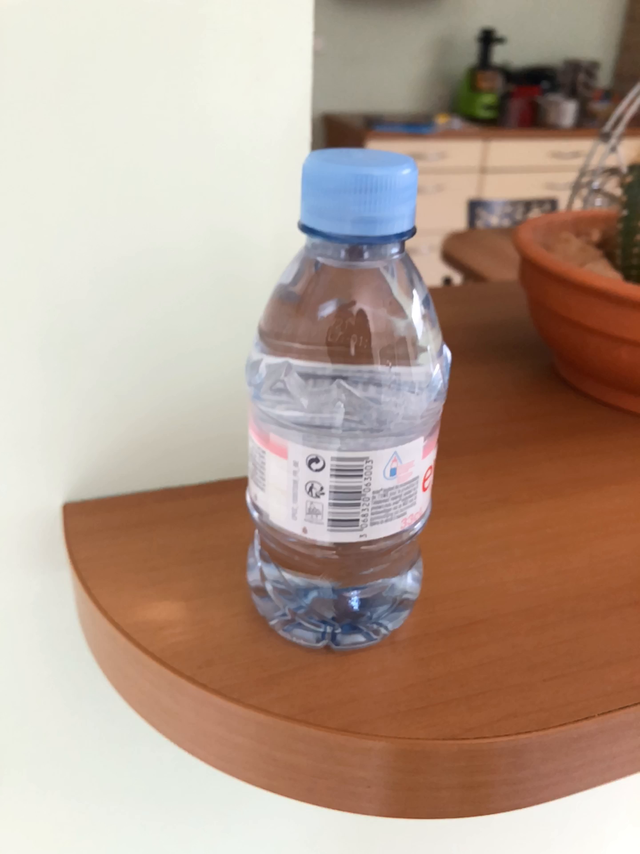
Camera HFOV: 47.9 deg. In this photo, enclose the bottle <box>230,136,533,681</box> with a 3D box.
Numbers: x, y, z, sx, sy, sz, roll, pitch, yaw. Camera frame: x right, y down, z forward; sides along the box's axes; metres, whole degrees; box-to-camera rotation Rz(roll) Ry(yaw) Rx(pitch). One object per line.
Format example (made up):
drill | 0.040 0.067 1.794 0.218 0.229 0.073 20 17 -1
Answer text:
bottle | 0.013 -0.004 0.236 0.070 0.159 0.070 2 29 -1
